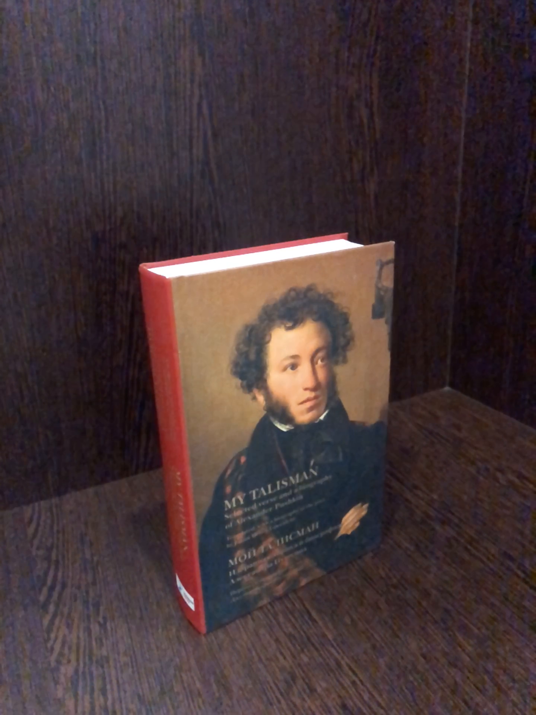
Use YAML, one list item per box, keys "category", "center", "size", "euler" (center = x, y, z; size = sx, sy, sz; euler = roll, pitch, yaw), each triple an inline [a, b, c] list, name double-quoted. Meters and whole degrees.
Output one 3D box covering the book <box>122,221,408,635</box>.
- category: "book"
  center: [0.003, 0.034, 0.341]
  size: [0.137, 0.201, 0.054]
  euler: [-14, 25, -28]
